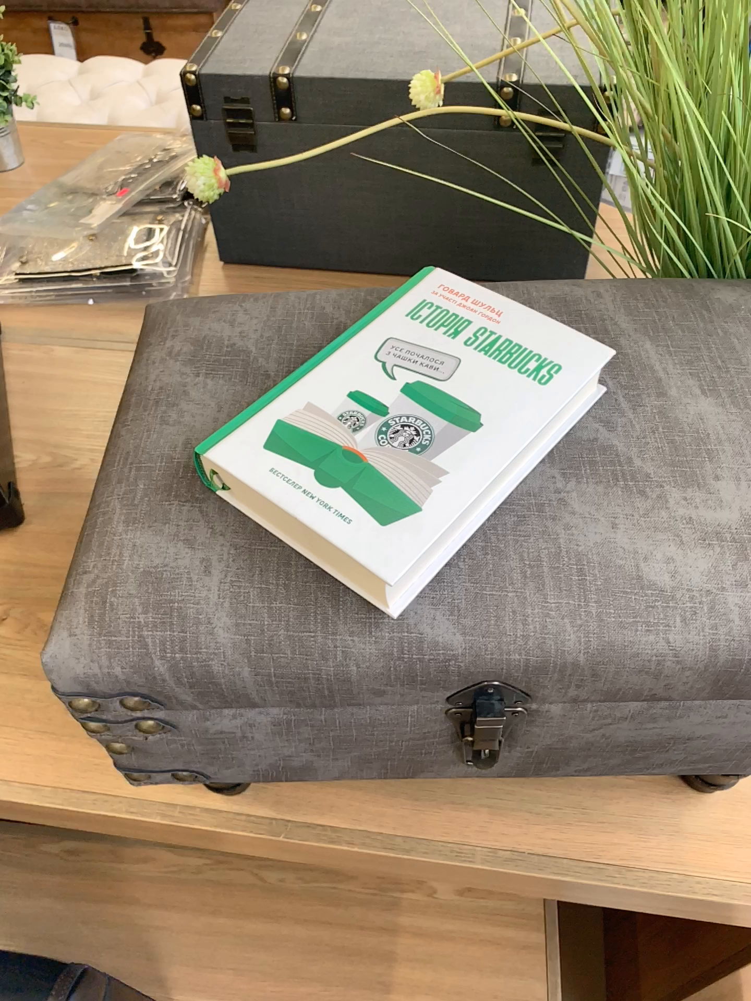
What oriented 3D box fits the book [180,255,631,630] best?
[{"bbox_3d":[0.025,-0.054,0.481,0.160,0.040,0.235,32,58,25],"label":"book"}]
